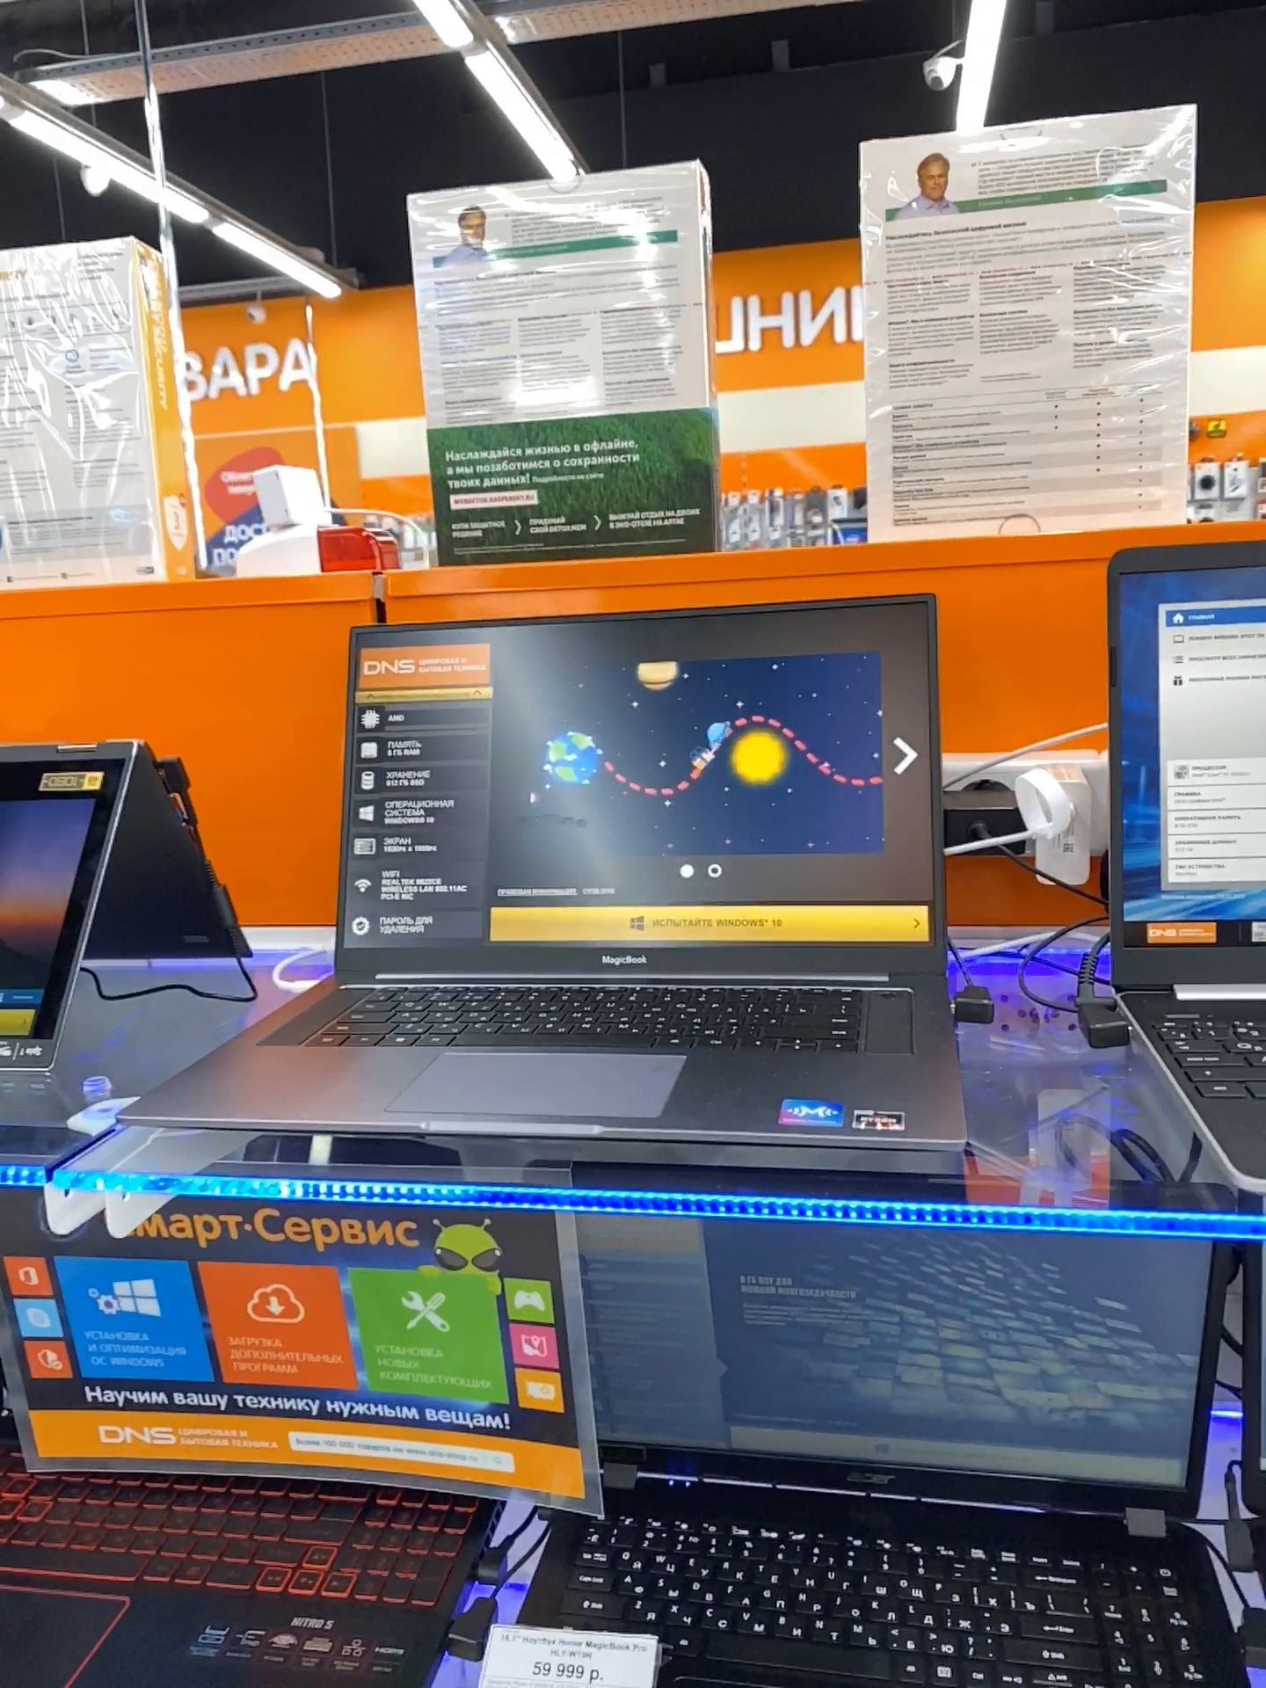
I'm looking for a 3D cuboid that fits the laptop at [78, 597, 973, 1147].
[{"bbox_3d":[-0.020,-0.013,0.678,0.368,0.207,0.314,-1,10,12],"label":"laptop"}]
